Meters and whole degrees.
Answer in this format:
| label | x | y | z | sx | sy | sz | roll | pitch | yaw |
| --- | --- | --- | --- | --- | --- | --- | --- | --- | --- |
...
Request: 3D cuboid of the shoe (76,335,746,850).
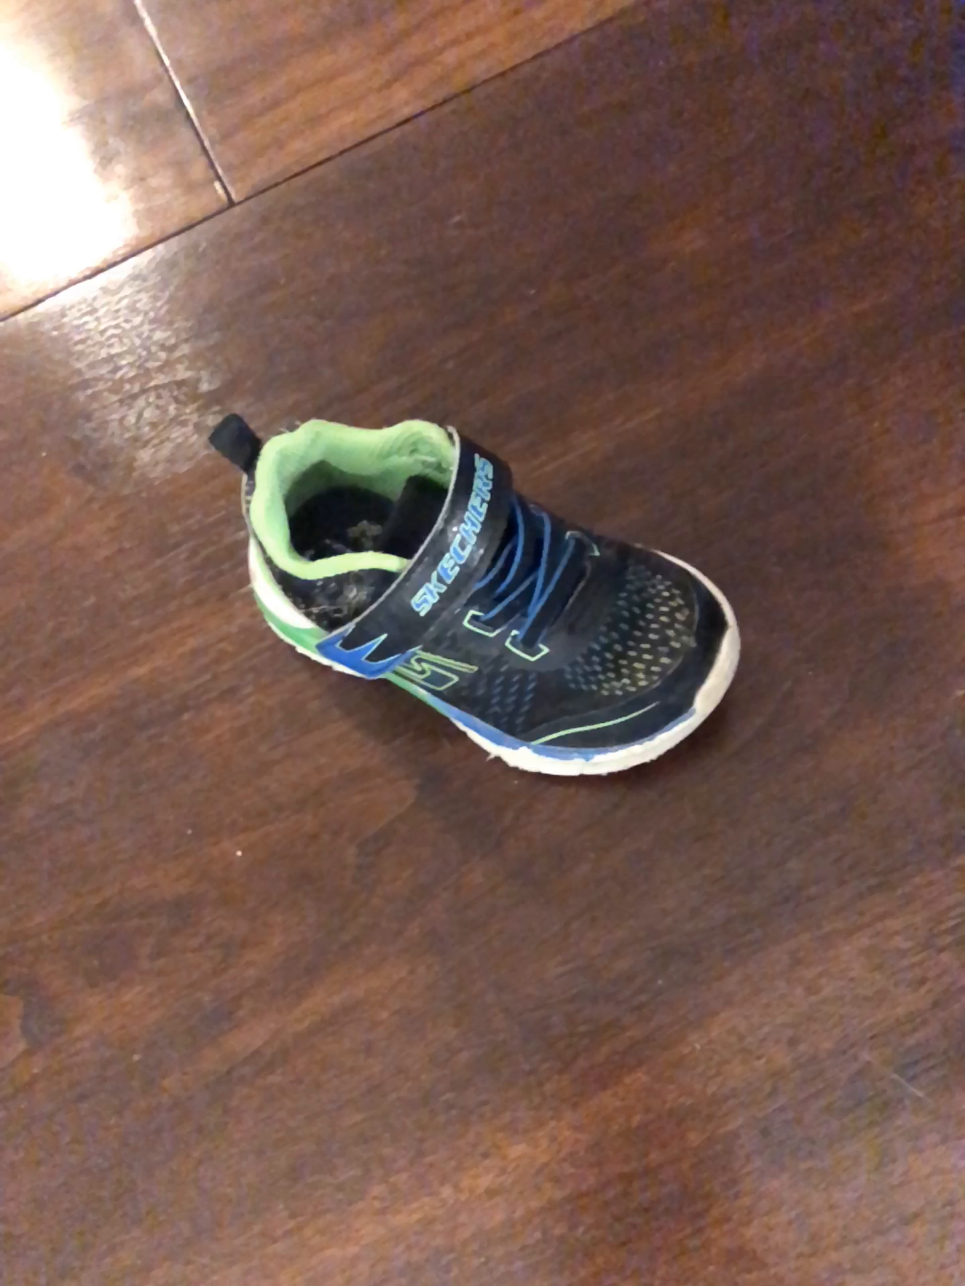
| label | x | y | z | sx | sy | sz | roll | pitch | yaw |
| --- | --- | --- | --- | --- | --- | --- | --- | --- | --- |
| shoe | -0.018 | -0.015 | 0.330 | 0.170 | 0.080 | 0.080 | 22 | 74 | 18 |
